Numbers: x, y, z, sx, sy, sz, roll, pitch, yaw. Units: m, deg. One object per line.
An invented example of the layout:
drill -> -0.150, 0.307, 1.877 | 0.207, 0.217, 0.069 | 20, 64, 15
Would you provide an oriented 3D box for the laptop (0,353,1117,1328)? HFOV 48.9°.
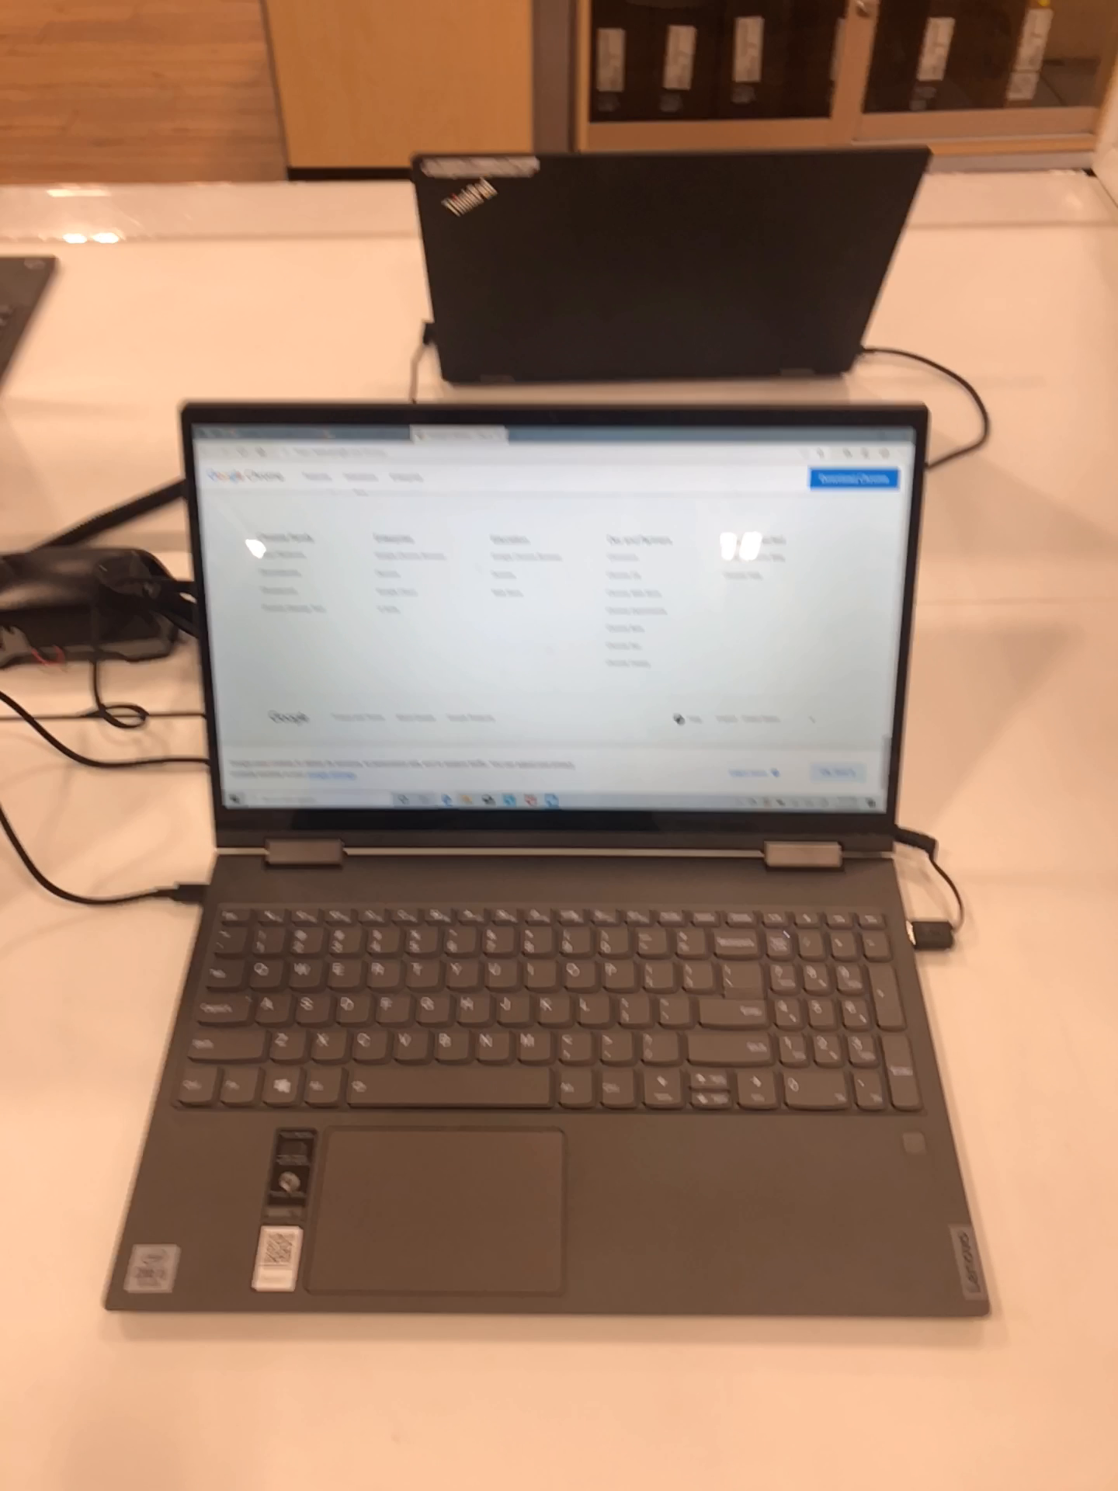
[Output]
laptop -> -0.007, 0.025, 0.541 | 0.352, 0.179, 0.366 | 0, 53, 0
